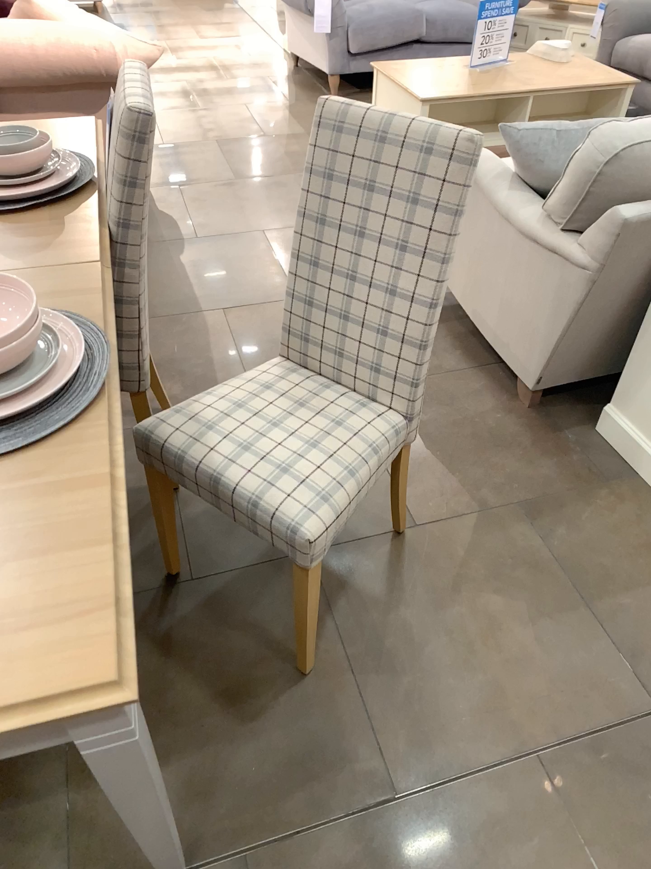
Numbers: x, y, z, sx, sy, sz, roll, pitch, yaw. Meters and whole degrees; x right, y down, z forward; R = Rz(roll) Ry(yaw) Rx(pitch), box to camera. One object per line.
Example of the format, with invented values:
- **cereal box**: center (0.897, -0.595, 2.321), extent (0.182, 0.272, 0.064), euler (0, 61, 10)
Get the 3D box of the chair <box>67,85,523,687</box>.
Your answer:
- **chair**: center (-0.026, -0.073, 1.301), extent (0.429, 0.938, 0.570), euler (26, 47, 24)
